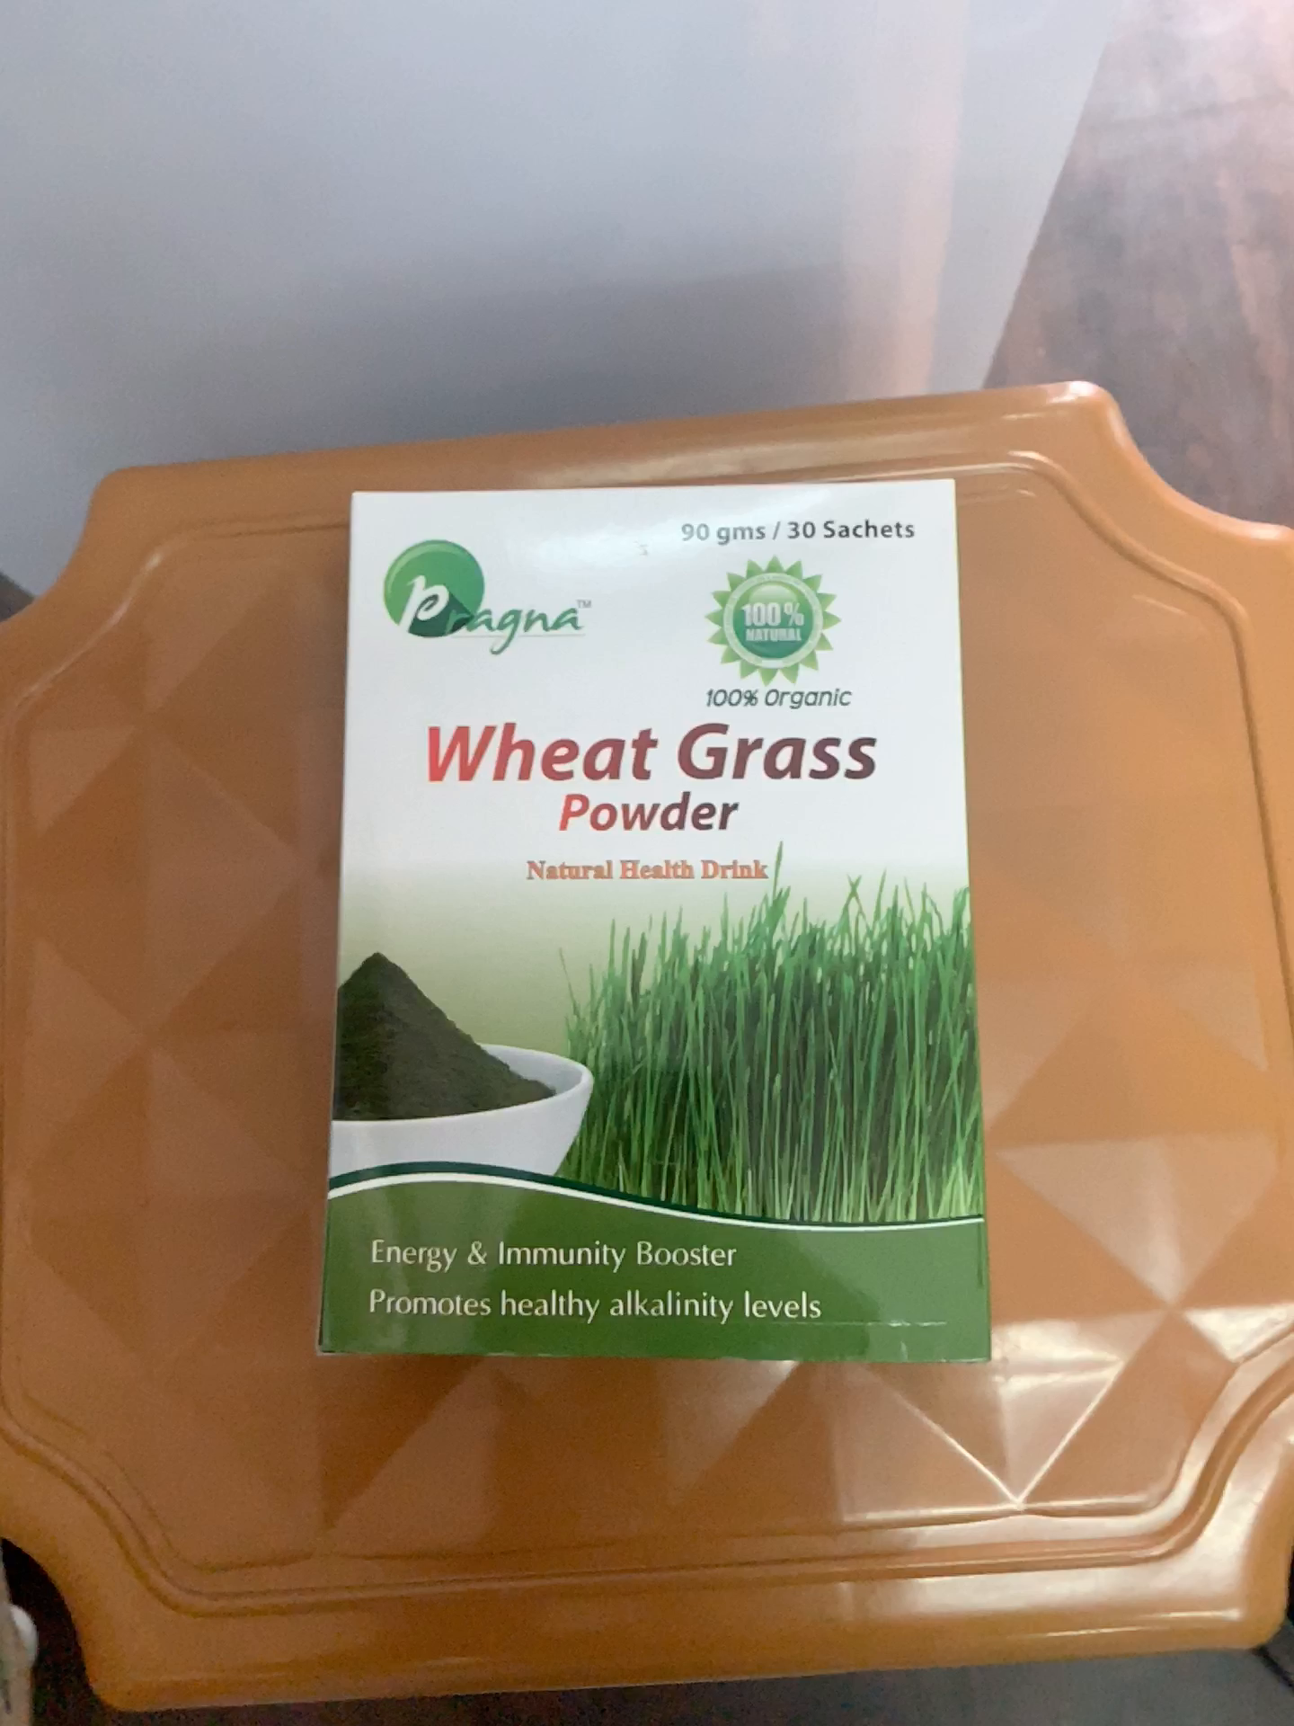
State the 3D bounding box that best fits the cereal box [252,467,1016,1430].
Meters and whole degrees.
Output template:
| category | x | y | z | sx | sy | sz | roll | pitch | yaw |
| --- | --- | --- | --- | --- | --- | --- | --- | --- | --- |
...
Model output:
| category | x | y | z | sx | sy | sz | roll | pitch | yaw |
| --- | --- | --- | --- | --- | --- | --- | --- | --- | --- |
| cereal box | -0.002 | 0.015 | 0.266 | 0.130 | 0.050 | 0.170 | 0 | 81 | 4 |
